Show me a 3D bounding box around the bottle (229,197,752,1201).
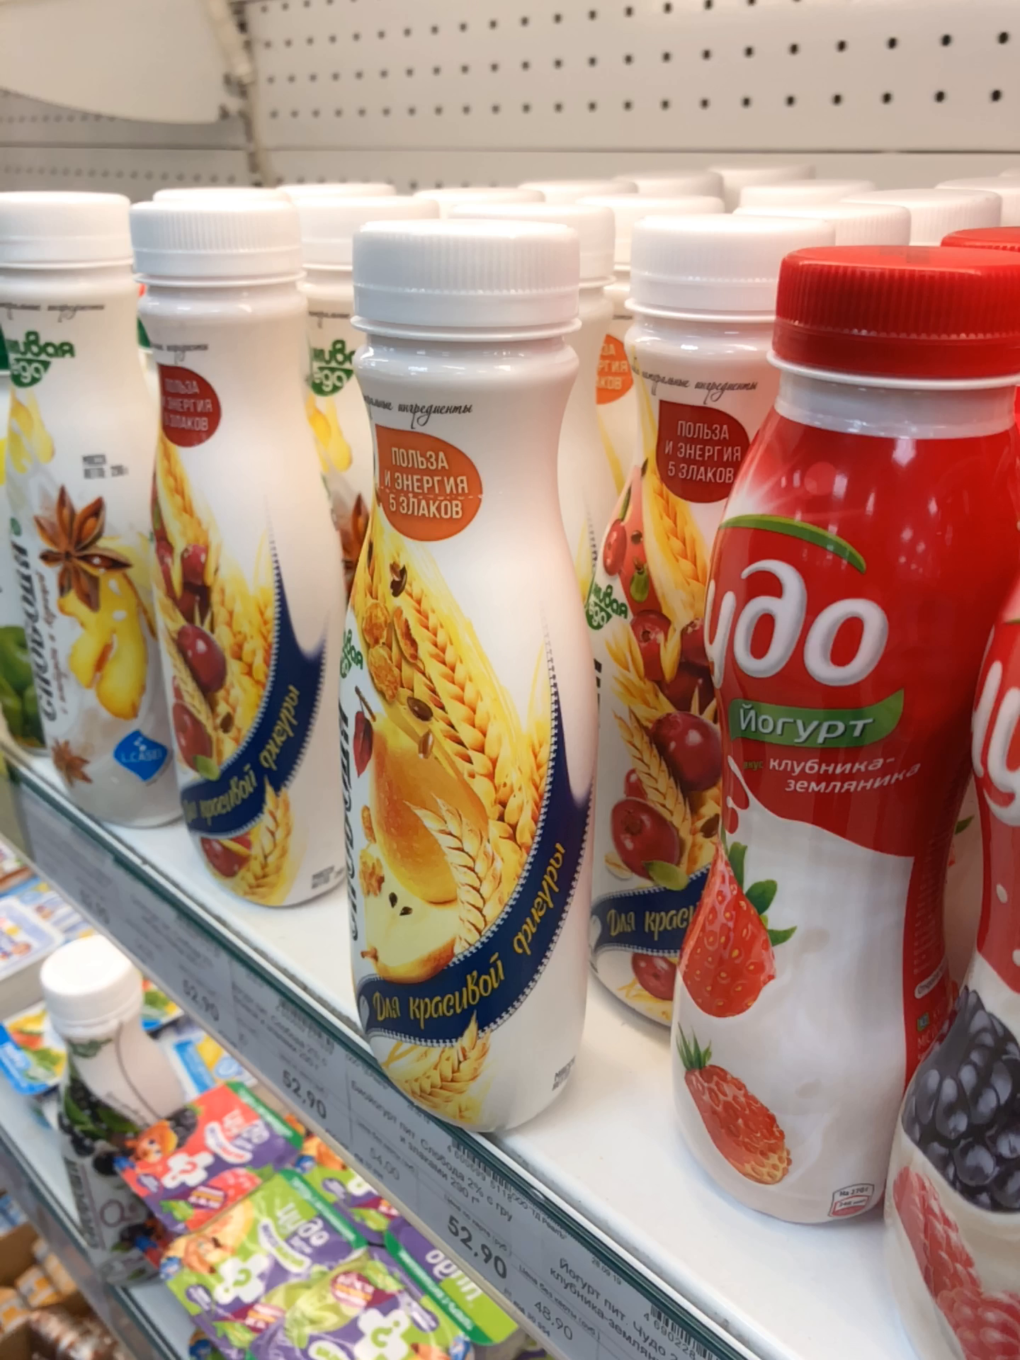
[{"bbox_3d":[-0.003,0.004,0.239,0.060,0.189,0.070,-22,32,-36],"label":"bottle"}]
